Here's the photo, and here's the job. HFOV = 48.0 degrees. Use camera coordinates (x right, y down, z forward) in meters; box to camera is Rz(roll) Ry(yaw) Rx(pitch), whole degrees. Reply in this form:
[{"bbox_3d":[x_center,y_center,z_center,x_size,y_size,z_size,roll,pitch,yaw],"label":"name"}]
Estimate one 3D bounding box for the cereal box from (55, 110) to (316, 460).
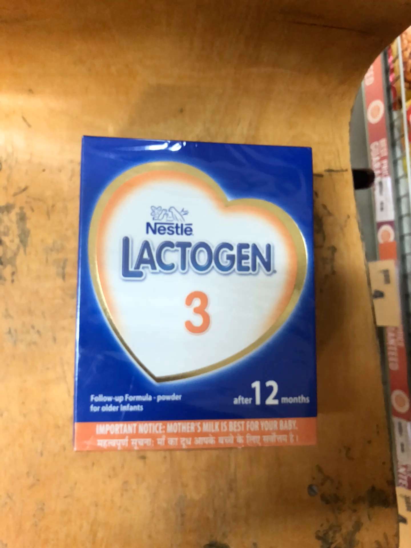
[{"bbox_3d":[-0.012,0.007,0.303,0.150,0.060,0.200,1,85,-8],"label":"cereal box"}]
